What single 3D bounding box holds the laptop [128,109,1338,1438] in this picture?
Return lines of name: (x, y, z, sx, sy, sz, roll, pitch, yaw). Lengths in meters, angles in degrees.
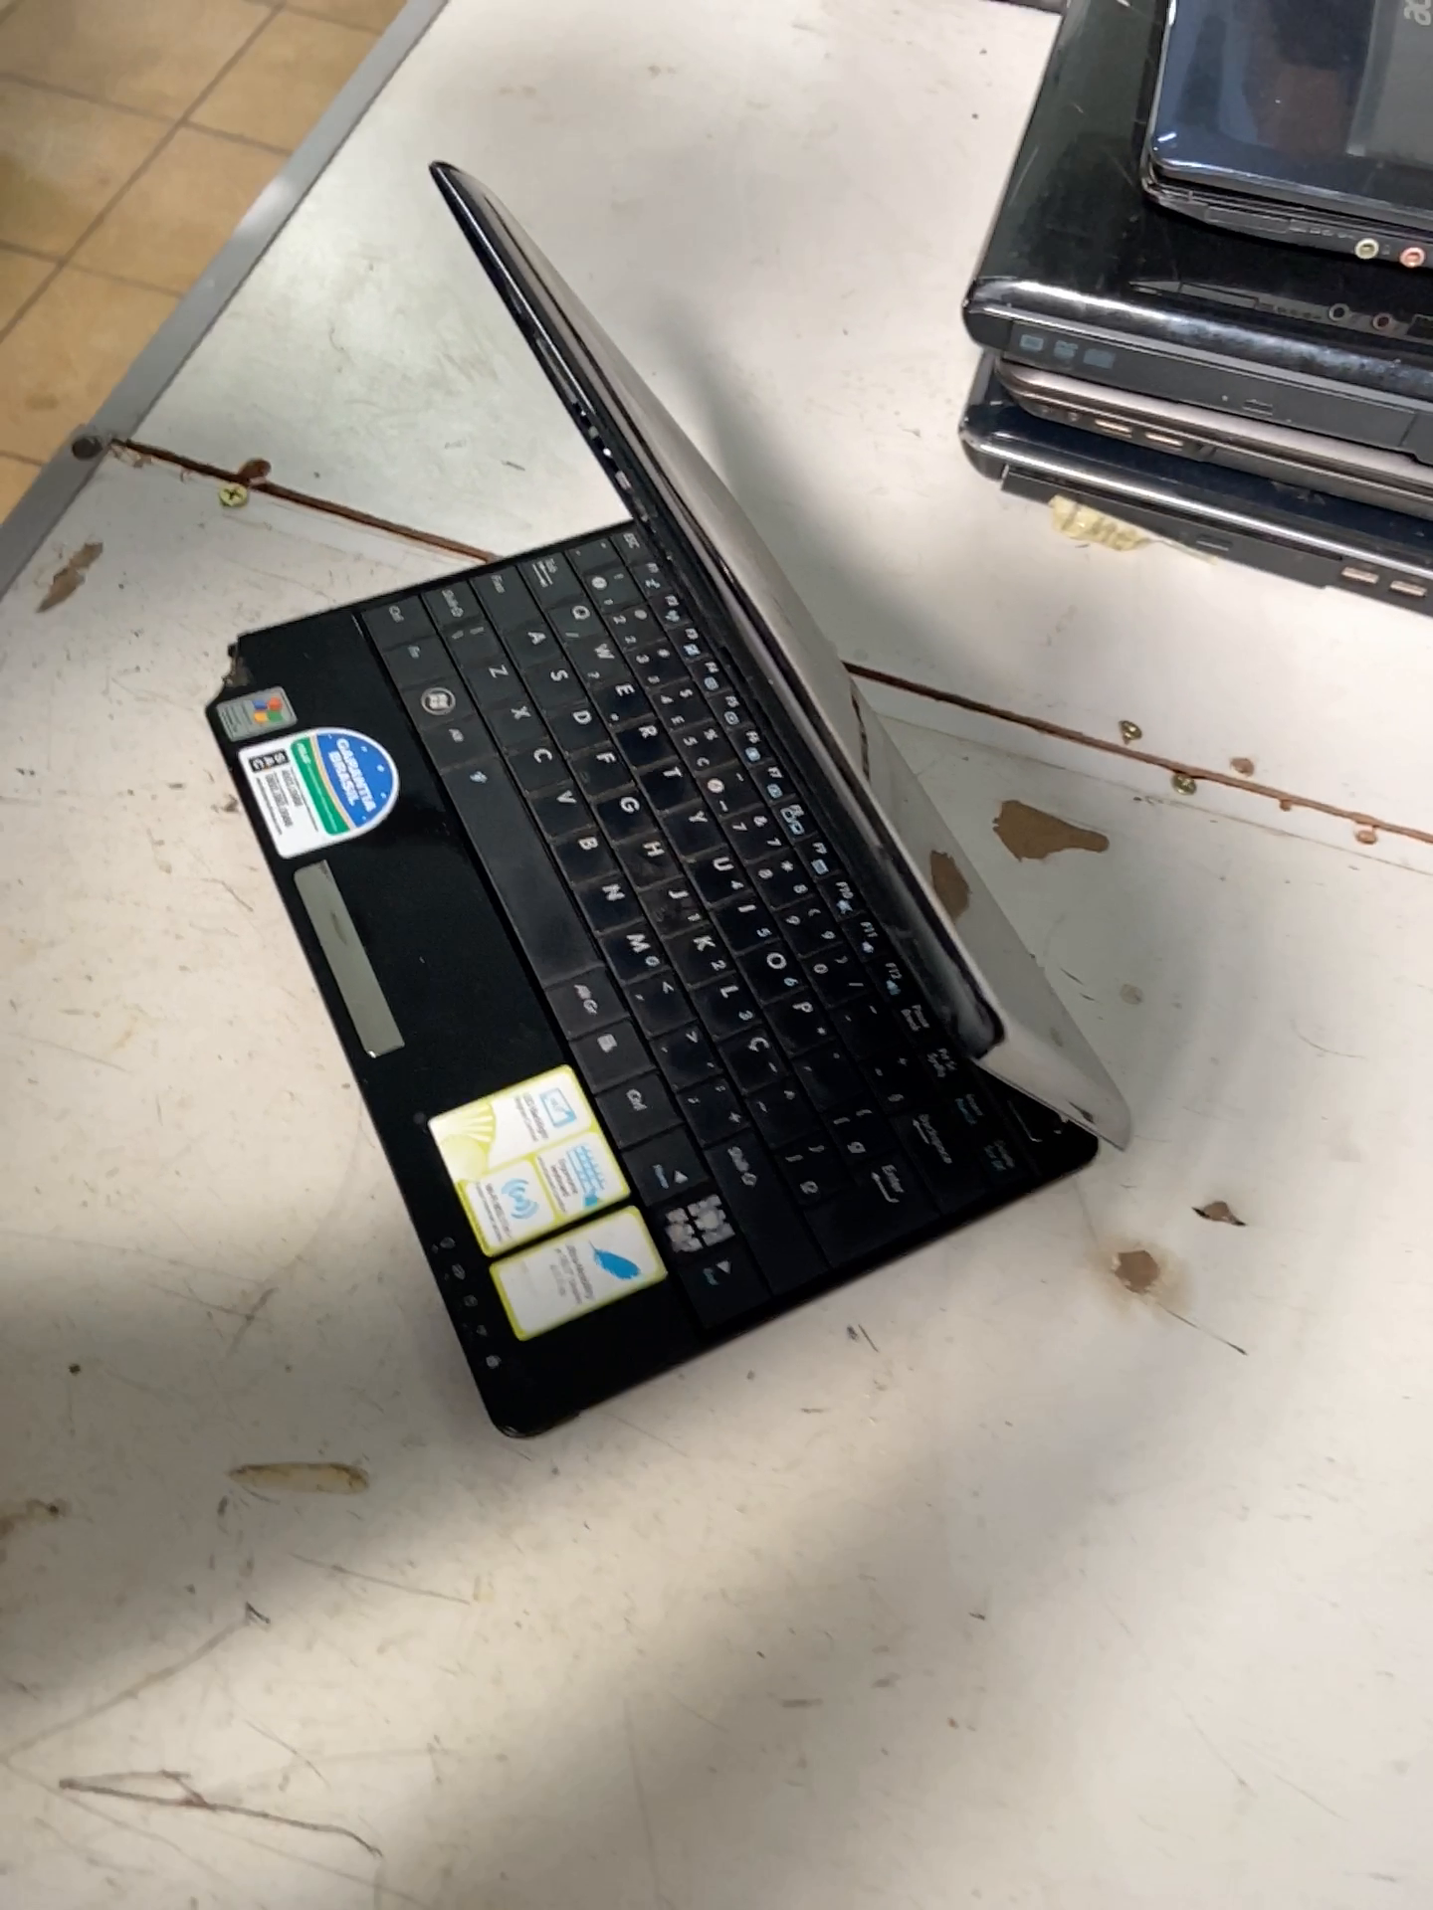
laptop: (-0.018, -0.054, 0.374, 0.168, 0.137, 0.262, -20, 65, -16)
